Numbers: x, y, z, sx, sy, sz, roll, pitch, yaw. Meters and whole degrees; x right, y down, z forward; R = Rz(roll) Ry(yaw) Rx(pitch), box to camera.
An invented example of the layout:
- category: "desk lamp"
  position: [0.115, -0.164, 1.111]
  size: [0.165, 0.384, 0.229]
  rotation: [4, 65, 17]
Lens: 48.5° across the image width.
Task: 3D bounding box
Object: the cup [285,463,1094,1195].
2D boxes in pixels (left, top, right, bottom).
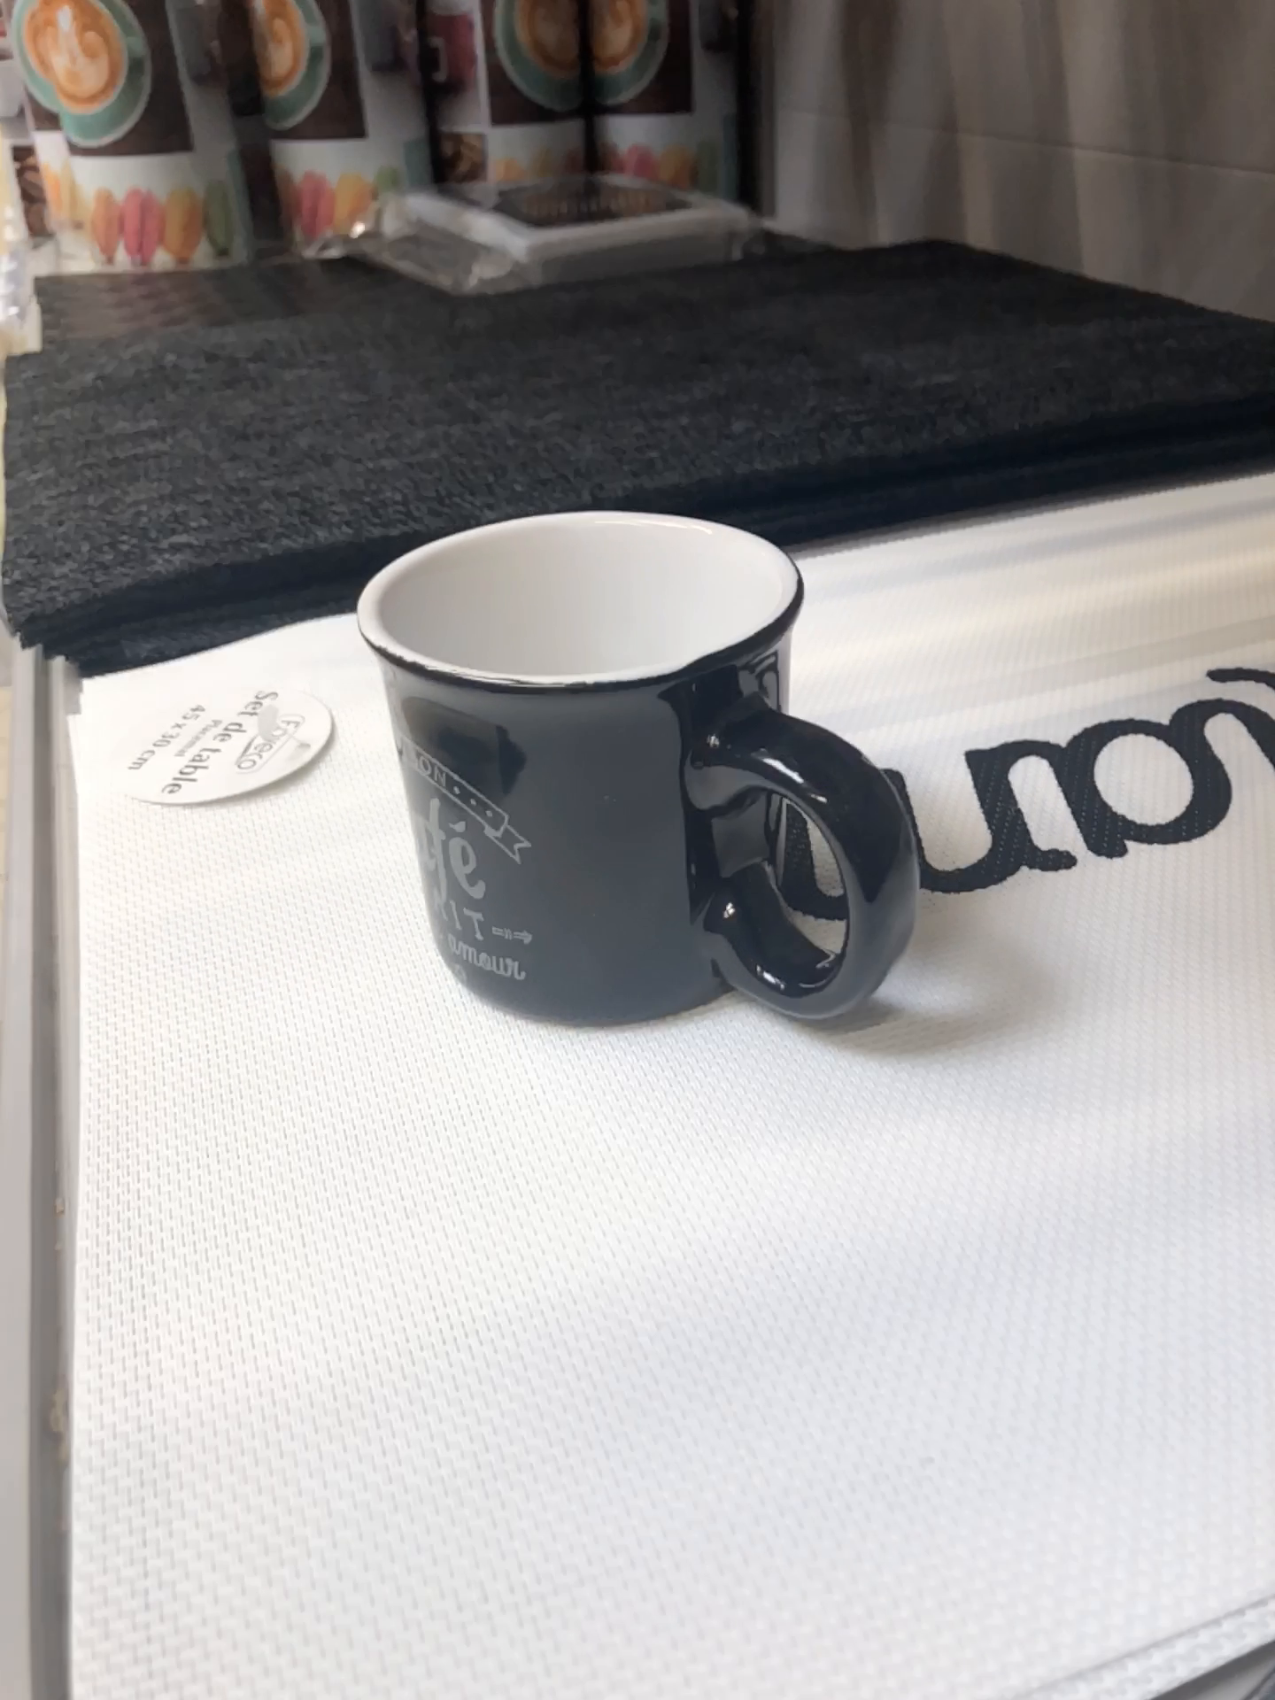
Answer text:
- category: "cup"
  position: [0.006, -0.013, 0.231]
  size: [0.075, 0.064, 0.100]
  rotation: [-27, 38, -32]
